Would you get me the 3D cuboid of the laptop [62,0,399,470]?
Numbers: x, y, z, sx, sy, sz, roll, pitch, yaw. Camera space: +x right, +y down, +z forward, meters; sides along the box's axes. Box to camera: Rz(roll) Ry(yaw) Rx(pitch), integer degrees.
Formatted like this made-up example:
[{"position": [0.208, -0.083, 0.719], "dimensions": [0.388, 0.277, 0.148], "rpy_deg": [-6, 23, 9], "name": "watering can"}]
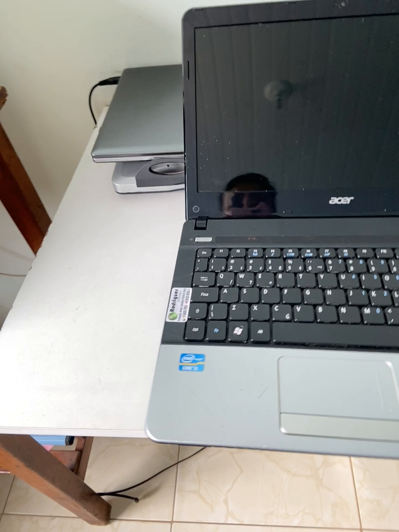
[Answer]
[{"position": [0.134, -0.075, 0.352], "dimensions": [0.332, 0.163, 0.398], "rpy_deg": [0, 48, 8], "name": "laptop"}]
